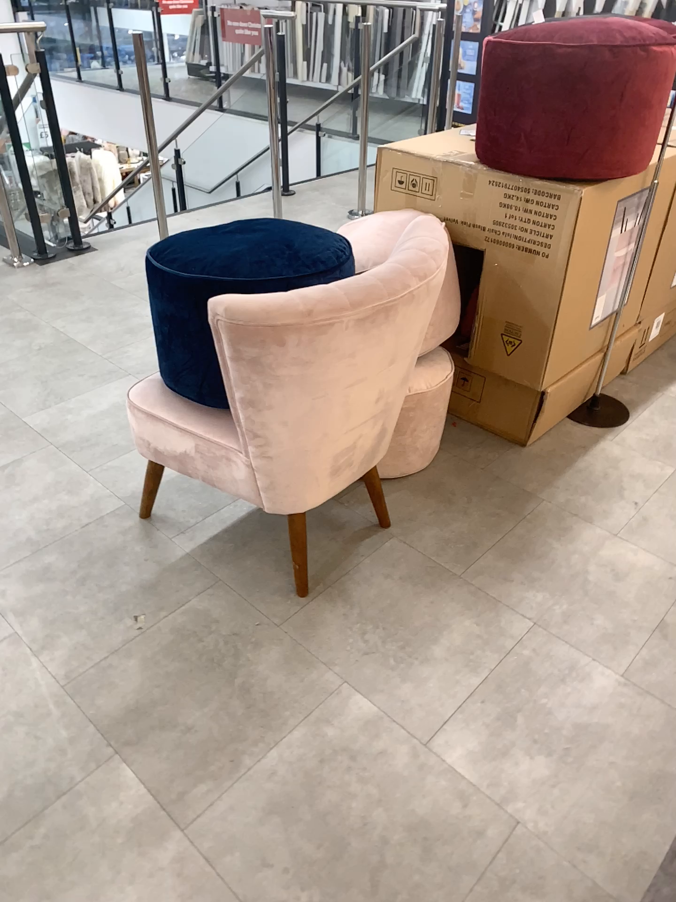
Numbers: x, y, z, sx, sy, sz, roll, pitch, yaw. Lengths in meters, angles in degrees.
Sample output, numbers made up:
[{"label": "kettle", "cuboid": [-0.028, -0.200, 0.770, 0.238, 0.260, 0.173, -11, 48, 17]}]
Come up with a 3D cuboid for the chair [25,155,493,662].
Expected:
[{"label": "chair", "cuboid": [-0.173, -0.167, 1.691, 0.748, 0.848, 0.658, 28, 43, 34]}]

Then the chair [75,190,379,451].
[{"label": "chair", "cuboid": [-0.255, -0.350, 1.660, 0.477, 0.363, 0.507, -29, 44, -35]}]
